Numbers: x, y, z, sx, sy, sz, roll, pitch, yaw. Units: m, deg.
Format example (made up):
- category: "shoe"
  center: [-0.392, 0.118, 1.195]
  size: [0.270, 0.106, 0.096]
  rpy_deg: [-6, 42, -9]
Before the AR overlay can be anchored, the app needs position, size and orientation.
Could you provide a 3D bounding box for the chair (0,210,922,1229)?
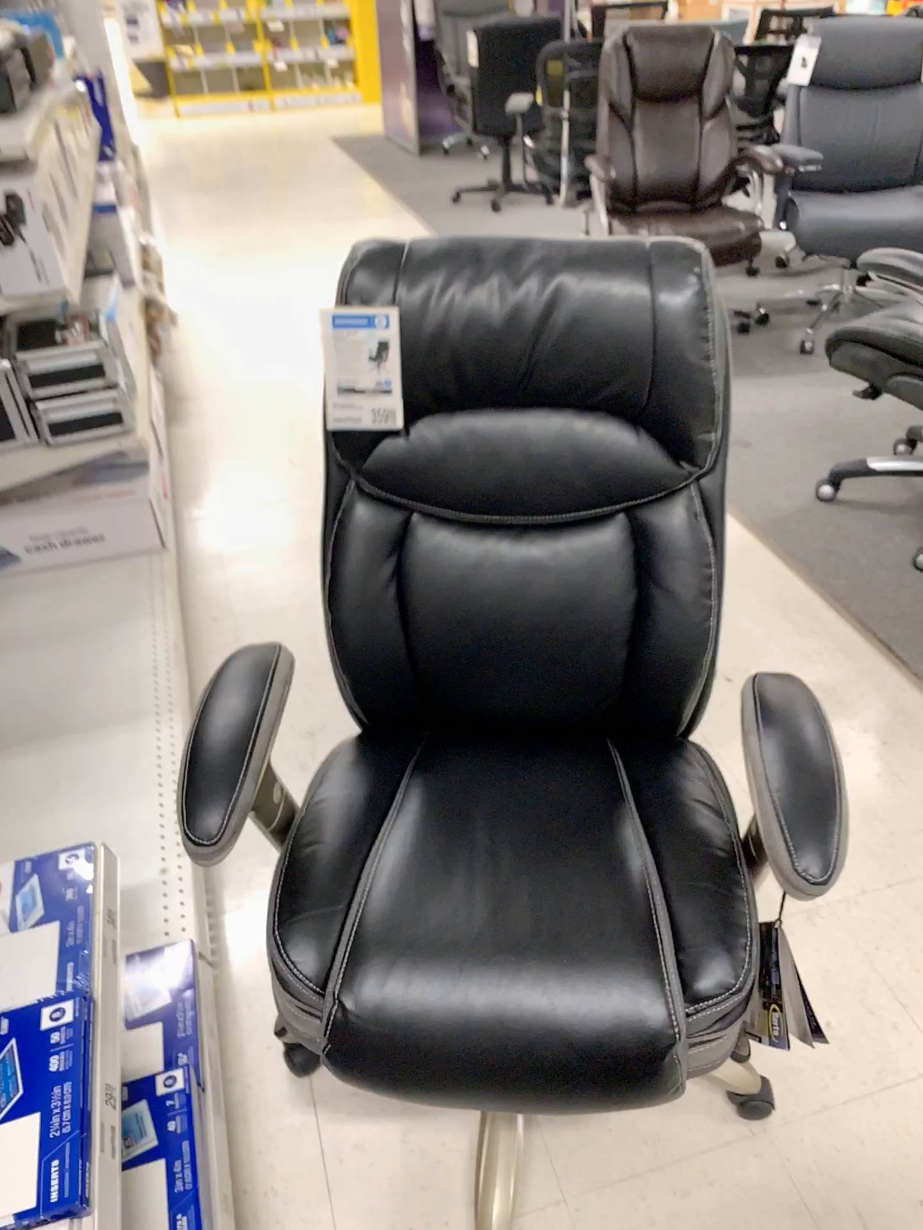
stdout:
- category: "chair"
  center: [0.070, 0.183, 1.157]
  size: [0.740, 1.094, 0.744]
  rpy_deg: [0, 36, 4]
